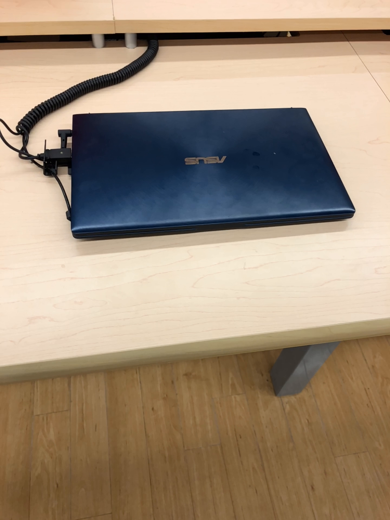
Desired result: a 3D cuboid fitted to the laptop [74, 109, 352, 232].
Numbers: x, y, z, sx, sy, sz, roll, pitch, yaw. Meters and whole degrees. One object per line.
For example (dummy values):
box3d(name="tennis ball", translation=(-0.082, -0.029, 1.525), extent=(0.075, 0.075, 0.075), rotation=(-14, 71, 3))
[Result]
box3d(name="laptop", translation=(0.013, -0.113, 0.498), extent=(0.295, 0.001, 0.178), rotation=(-5, 56, -8))
